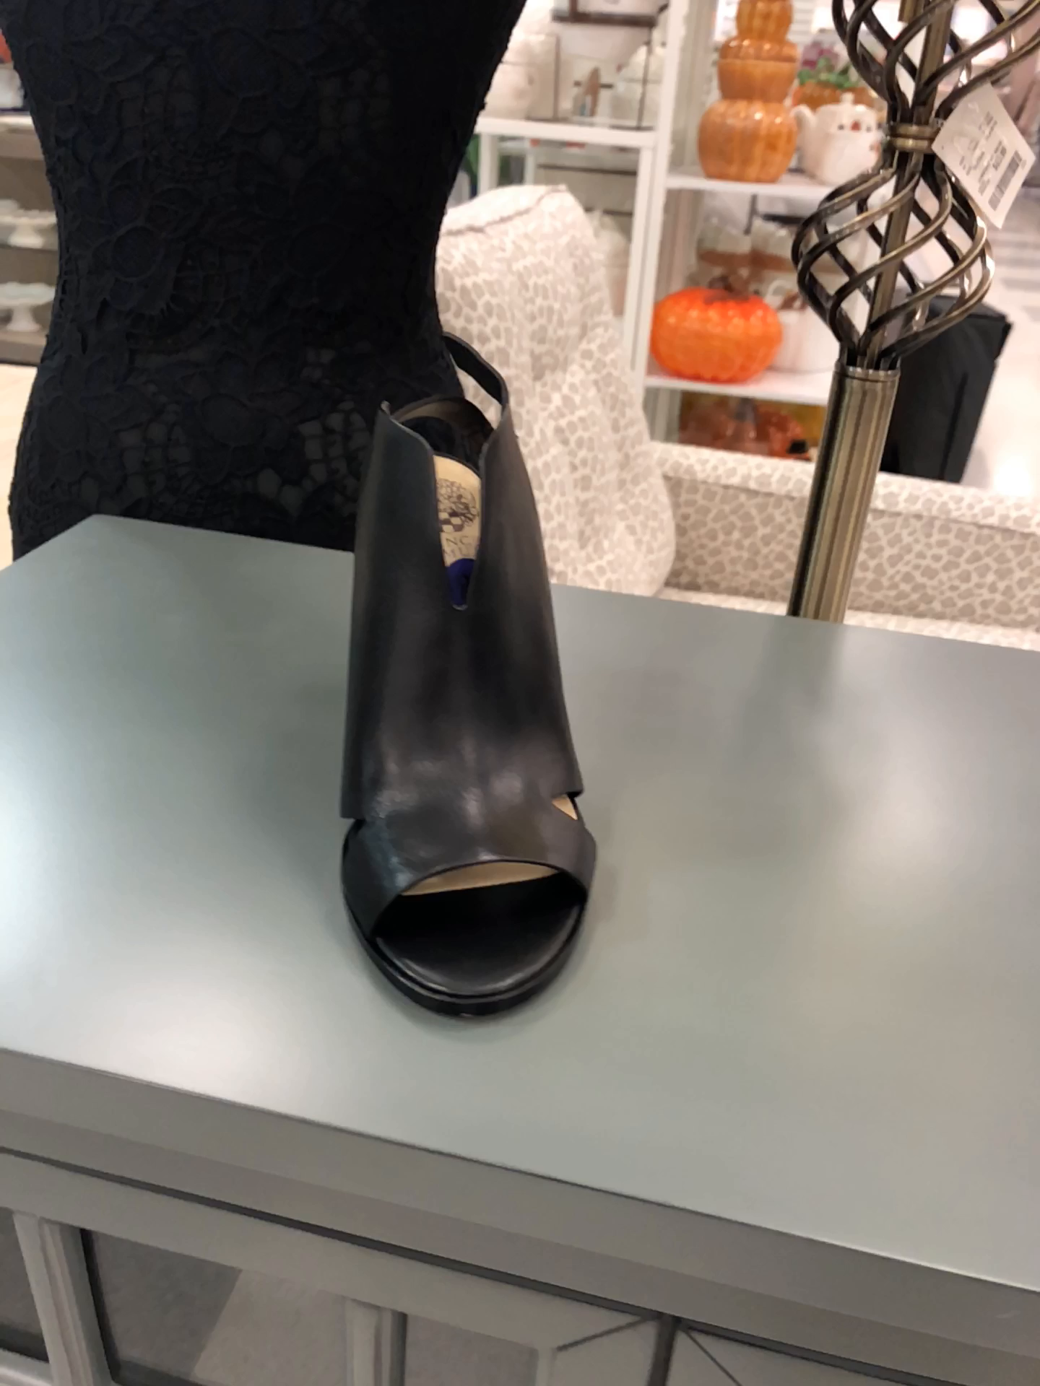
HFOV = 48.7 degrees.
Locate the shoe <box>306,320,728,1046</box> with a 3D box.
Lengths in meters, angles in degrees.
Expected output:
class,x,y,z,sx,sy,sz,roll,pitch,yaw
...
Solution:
class,x,y,z,sx,sy,sz,roll,pitch,yaw
shoe,-0.019,-0.026,0.394,0.095,0.150,0.238,-1,29,-8
